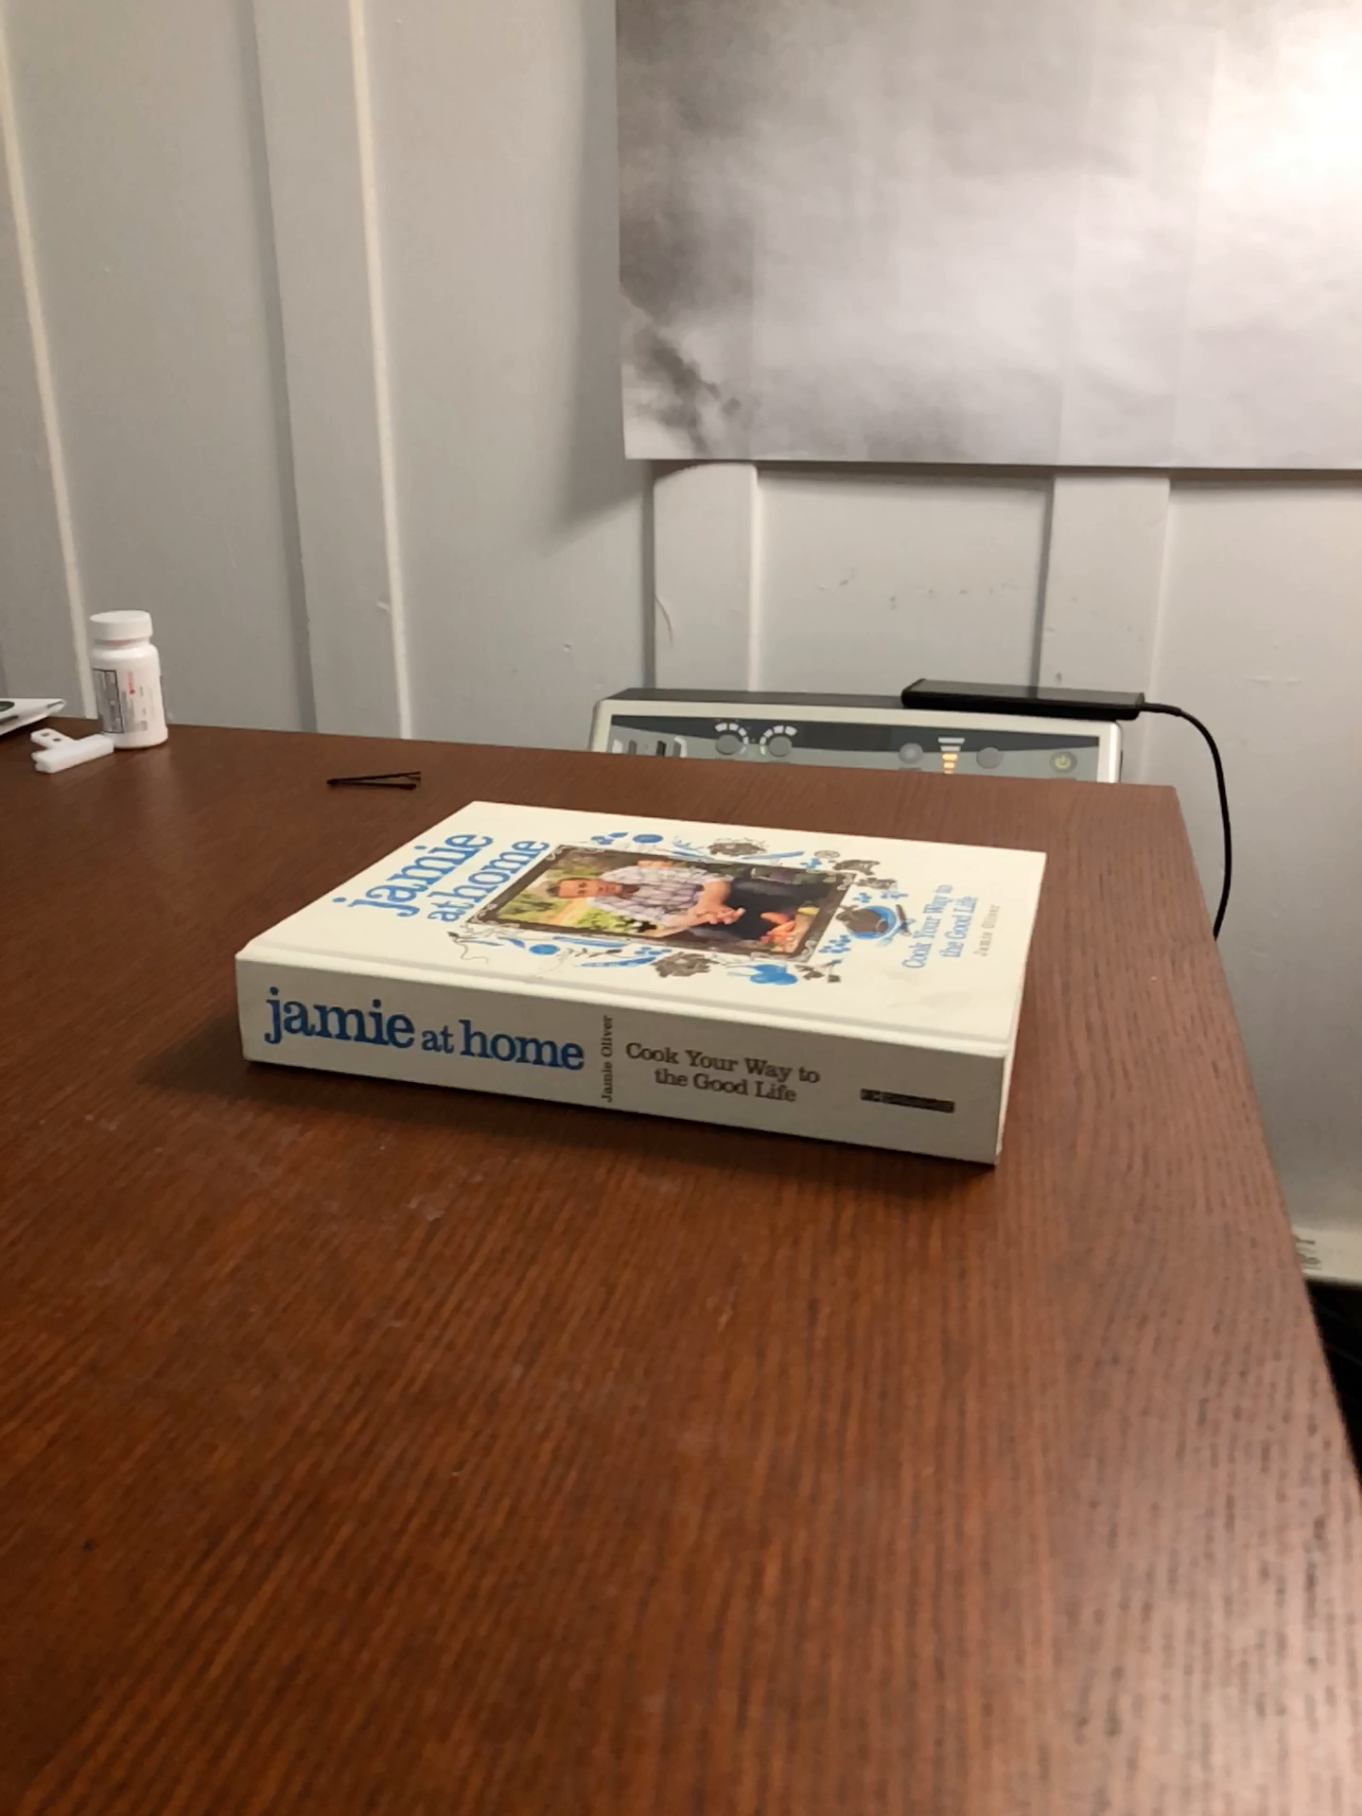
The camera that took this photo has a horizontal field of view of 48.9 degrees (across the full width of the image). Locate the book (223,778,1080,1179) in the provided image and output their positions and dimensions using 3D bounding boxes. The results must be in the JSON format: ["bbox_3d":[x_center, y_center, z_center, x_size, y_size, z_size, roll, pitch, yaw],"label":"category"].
[{"bbox_3d":[0.007,0.010,0.549,0.260,0.040,0.211,6,22,15],"label":"book"}]
